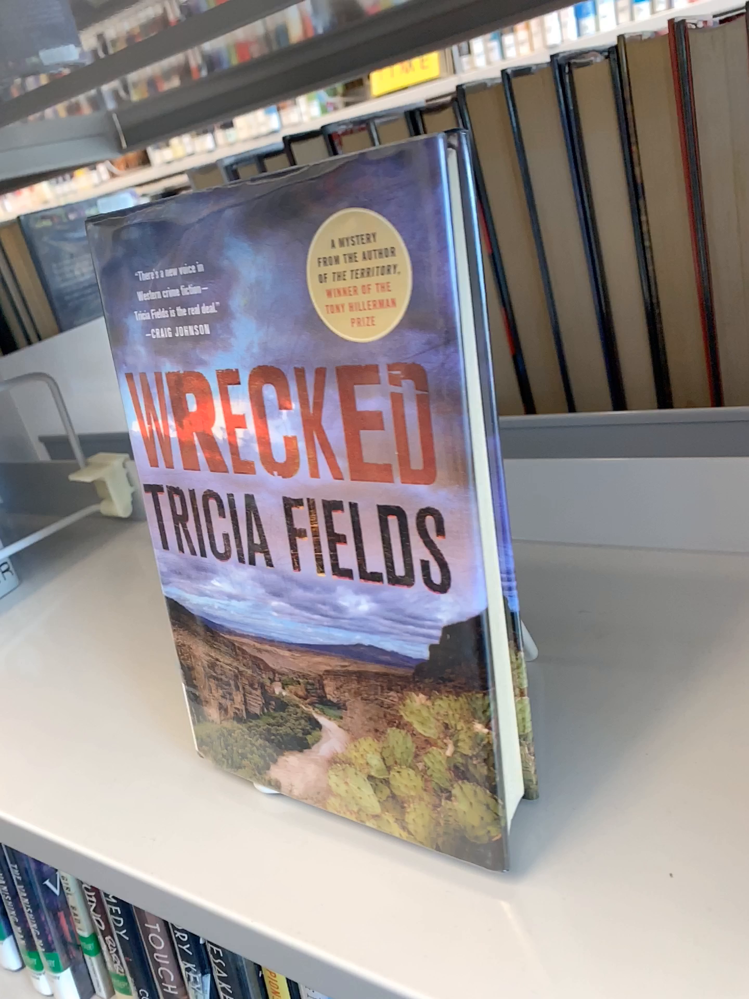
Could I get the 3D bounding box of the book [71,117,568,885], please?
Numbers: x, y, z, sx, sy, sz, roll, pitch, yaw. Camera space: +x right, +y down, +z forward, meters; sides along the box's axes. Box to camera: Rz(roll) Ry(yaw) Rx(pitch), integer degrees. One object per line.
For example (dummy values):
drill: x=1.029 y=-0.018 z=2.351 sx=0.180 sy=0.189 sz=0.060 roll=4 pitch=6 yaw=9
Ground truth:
book: x=-0.019 y=0.005 z=0.263 sx=0.147 sy=0.213 sz=0.035 roll=3 pitch=19 yaw=36
